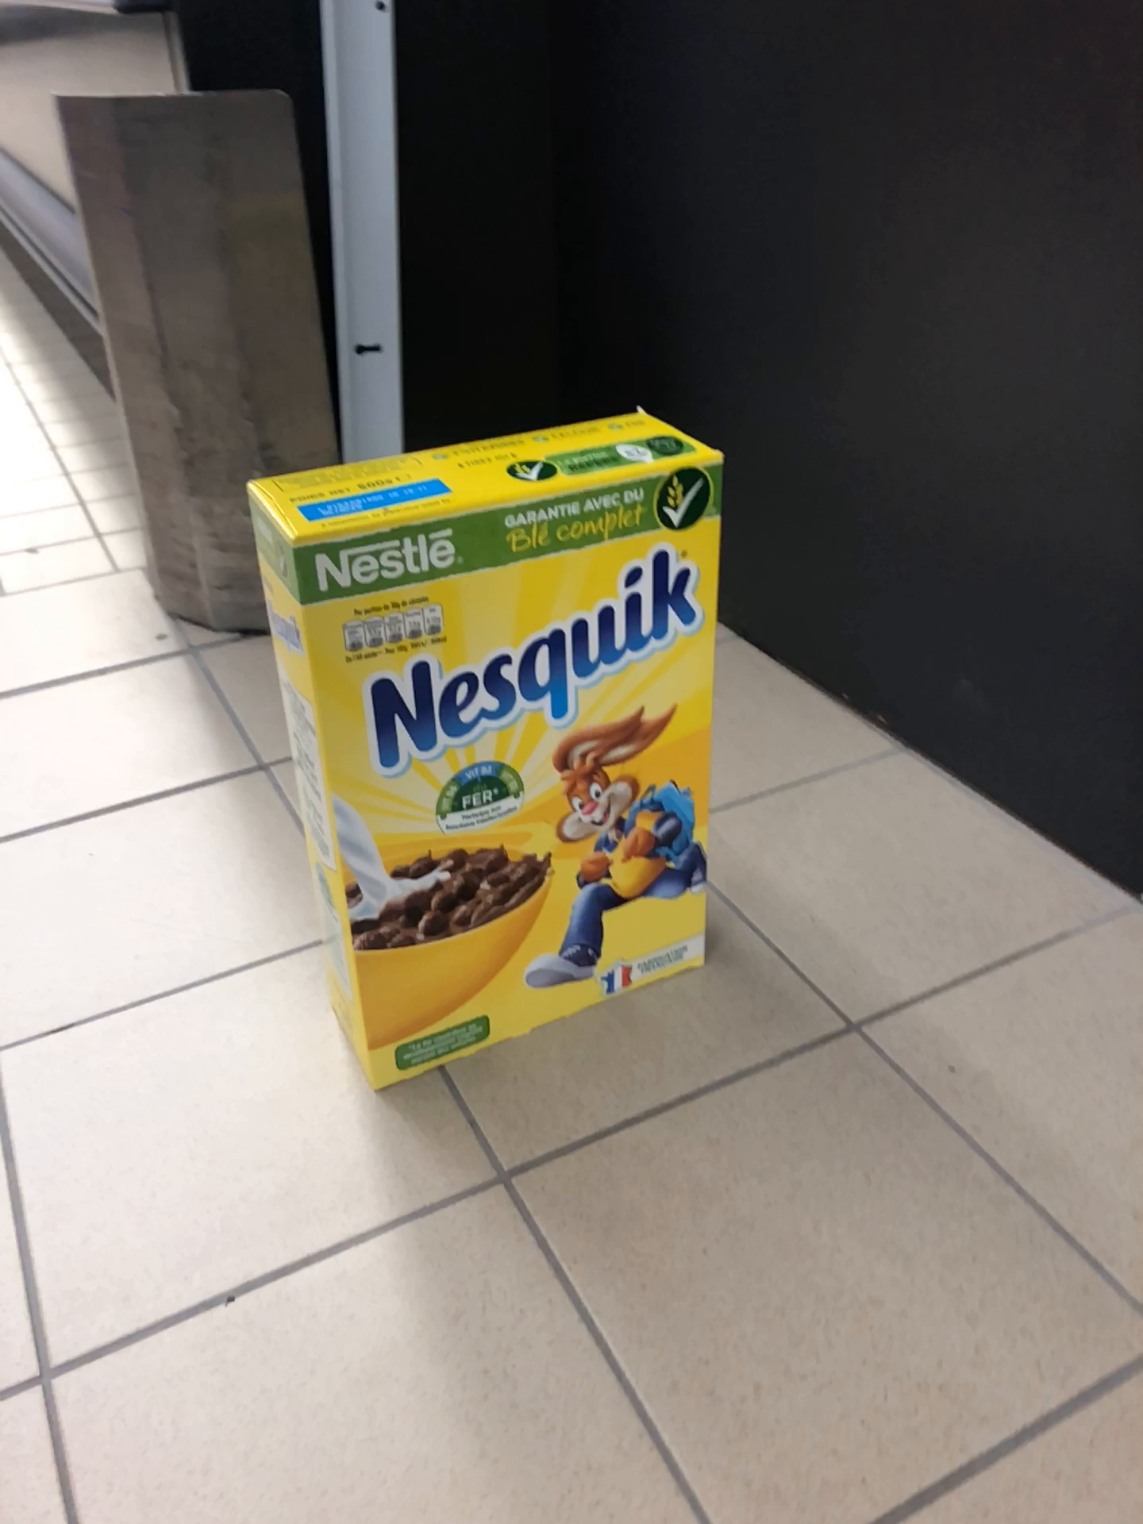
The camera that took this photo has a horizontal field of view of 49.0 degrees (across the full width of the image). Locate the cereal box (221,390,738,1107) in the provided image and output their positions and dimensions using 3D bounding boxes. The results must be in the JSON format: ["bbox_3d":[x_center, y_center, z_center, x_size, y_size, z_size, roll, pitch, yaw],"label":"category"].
[{"bbox_3d":[-0.031,-0.002,0.594,0.201,0.298,0.070,-17,35,-22],"label":"cereal box"}]
